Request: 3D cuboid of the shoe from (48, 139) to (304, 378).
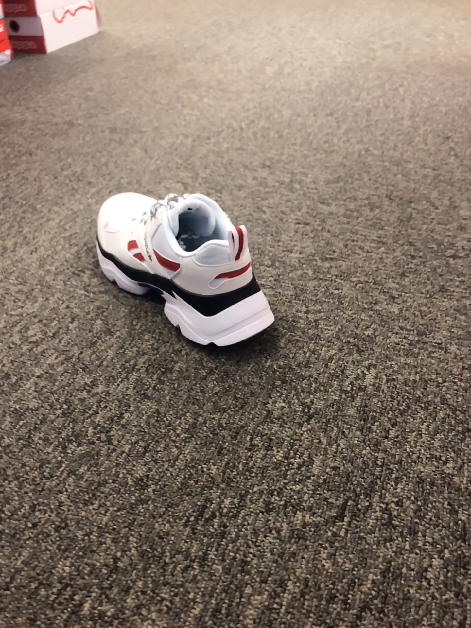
[{"bbox_3d":[-0.074,-0.080,0.559,0.114,0.109,0.301,-27,45,-28],"label":"shoe"}]
